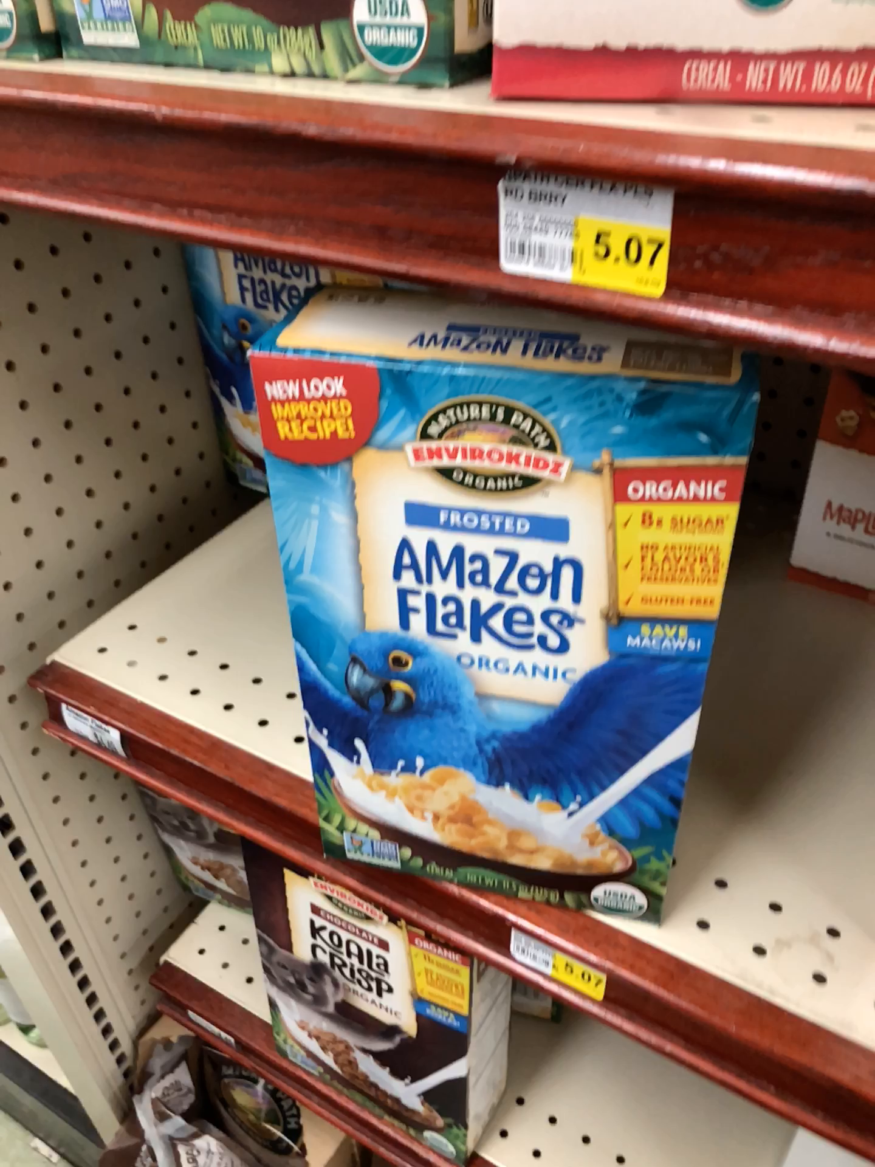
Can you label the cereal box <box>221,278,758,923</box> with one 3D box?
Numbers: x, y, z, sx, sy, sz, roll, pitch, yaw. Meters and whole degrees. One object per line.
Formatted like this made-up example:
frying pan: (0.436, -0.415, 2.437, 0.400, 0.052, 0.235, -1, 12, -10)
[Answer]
cereal box: (0.025, 0.020, 0.388, 0.160, 0.259, 0.060, 8, 40, 14)
